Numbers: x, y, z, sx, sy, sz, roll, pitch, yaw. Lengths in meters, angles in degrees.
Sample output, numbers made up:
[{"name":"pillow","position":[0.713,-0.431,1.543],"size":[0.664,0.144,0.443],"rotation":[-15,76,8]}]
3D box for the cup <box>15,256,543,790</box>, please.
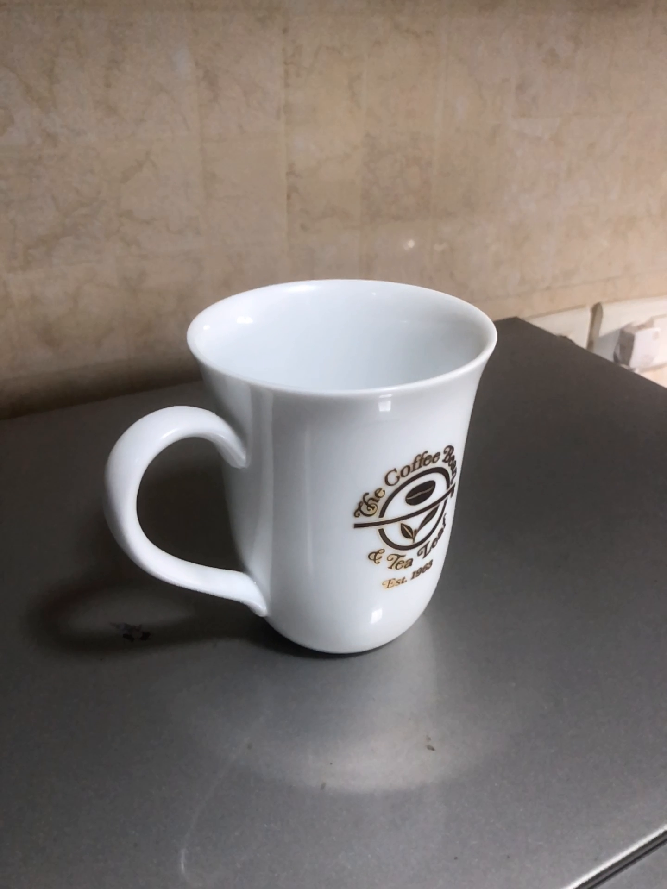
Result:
[{"name":"cup","position":[-0.014,0.012,0.249],"size":[0.130,0.109,0.090],"rotation":[-22,36,-34]}]
